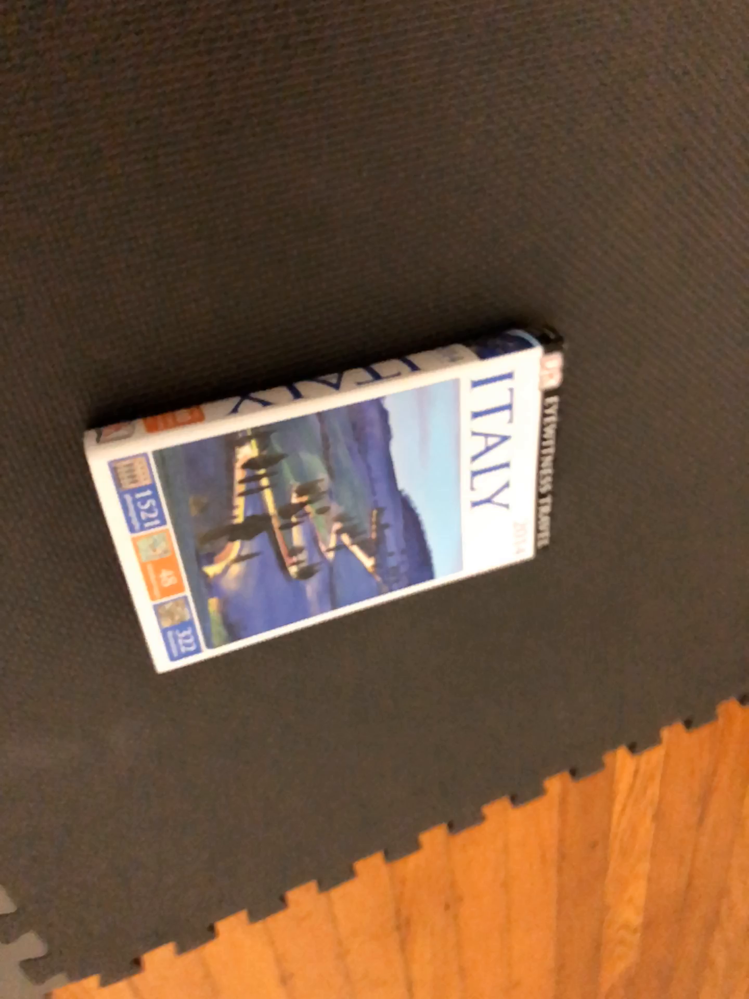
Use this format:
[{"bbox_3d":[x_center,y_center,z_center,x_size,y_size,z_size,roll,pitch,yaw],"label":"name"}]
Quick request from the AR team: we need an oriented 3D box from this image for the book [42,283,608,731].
[{"bbox_3d":[-0.009,0.004,0.411,0.250,0.040,0.160,-17,125,-14],"label":"book"}]
